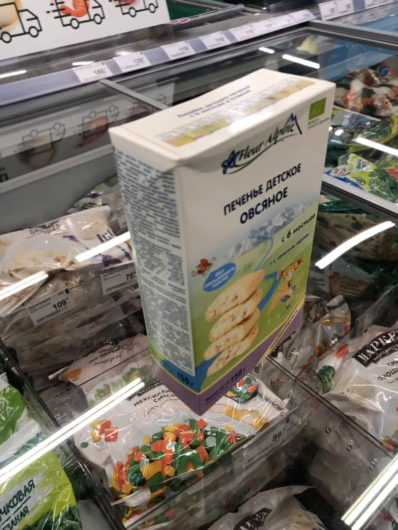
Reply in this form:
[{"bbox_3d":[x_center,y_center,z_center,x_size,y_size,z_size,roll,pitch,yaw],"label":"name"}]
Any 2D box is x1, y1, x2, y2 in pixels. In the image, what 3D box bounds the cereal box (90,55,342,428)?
[{"bbox_3d":[0.017,-0.008,0.266,0.050,0.189,0.120,30,50,34],"label":"cereal box"}]
